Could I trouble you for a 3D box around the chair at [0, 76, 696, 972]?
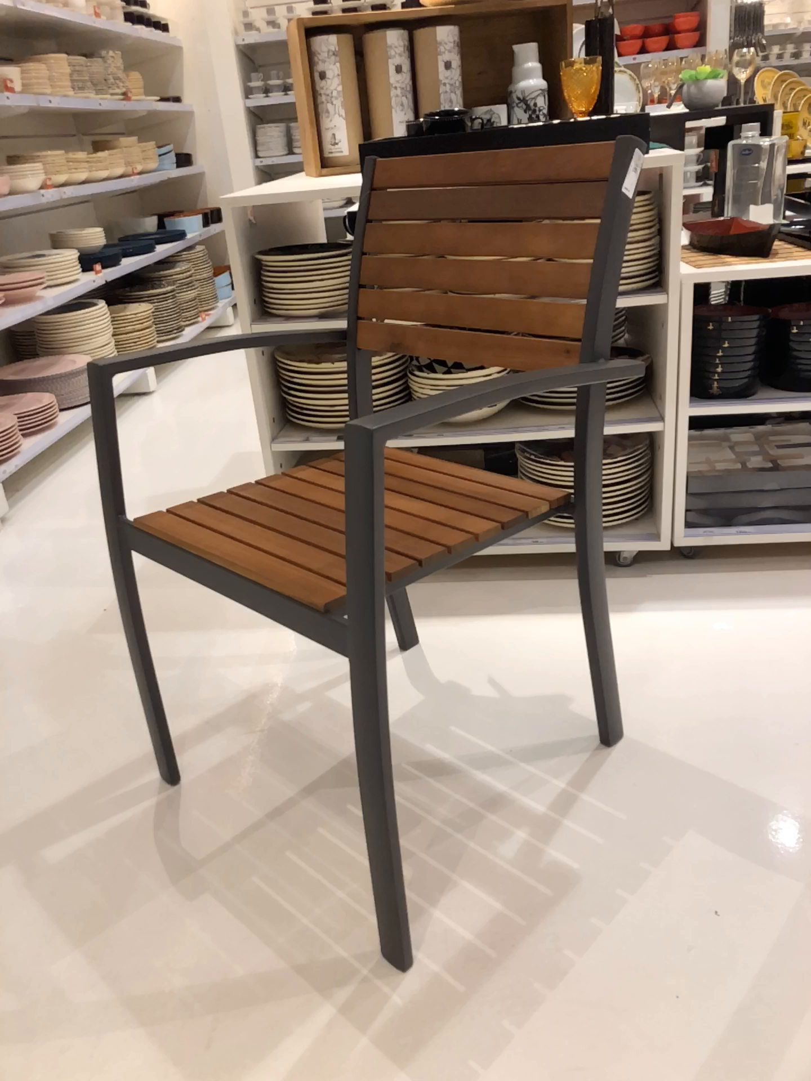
[{"bbox_3d":[-0.060,-0.088,1.098,0.532,0.785,0.592,-26,31,-37],"label":"chair"}]
